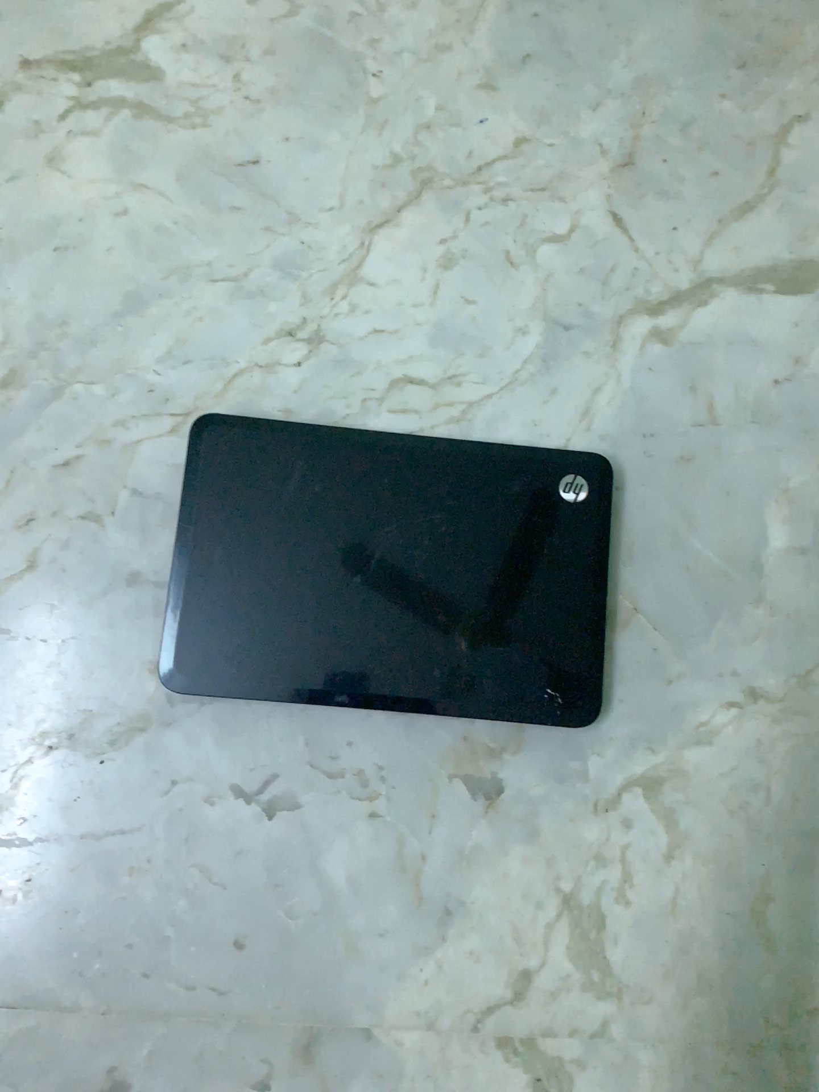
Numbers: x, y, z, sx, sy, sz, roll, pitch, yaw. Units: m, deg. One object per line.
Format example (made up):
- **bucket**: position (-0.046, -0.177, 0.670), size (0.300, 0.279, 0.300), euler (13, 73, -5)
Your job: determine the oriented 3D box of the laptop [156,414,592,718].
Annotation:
- **laptop**: position (-0.020, 0.013, 0.683), size (0.333, 0.022, 0.221), euler (5, 74, -1)
